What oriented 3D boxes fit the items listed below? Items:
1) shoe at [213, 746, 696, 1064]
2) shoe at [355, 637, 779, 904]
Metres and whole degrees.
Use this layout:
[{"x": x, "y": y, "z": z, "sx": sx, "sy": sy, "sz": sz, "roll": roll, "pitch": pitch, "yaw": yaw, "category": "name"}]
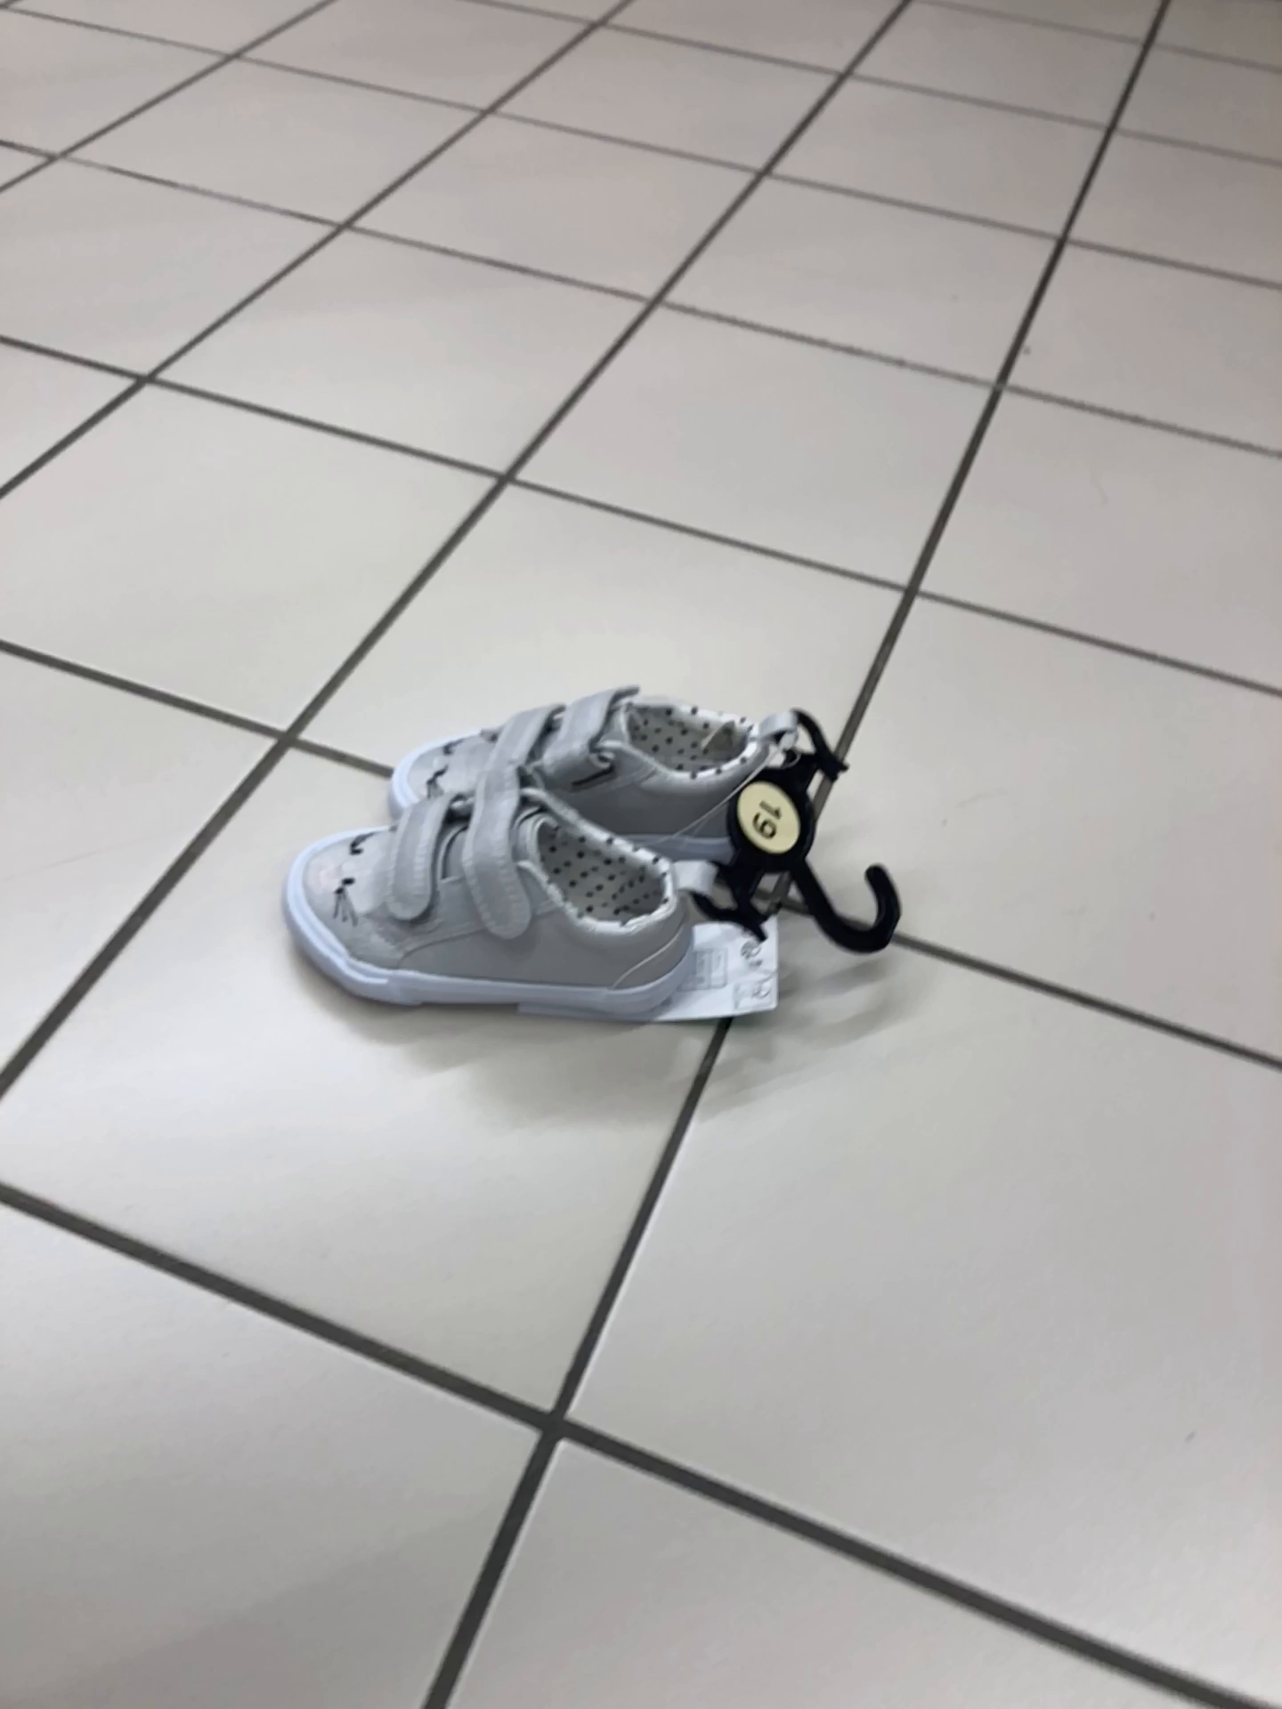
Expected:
[{"x": -0.057, "y": 0.016, "z": 0.461, "sx": 0.138, "sy": 0.053, "sz": 0.064, "roll": 8, "pitch": 47, "yaw": 3, "category": "shoe"}, {"x": -0.024, "y": -0.030, "z": 0.505, "sx": 0.138, "sy": 0.053, "sz": 0.059, "roll": 7, "pitch": 47, "yaw": 2, "category": "shoe"}]
